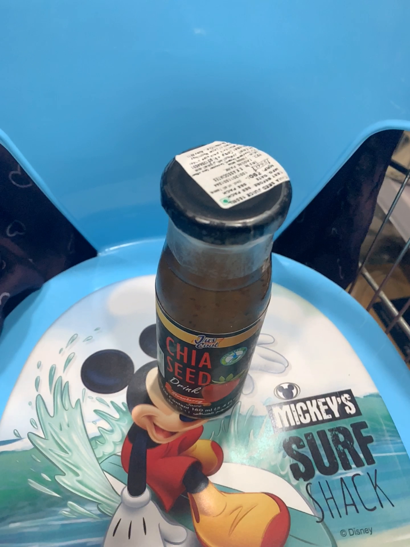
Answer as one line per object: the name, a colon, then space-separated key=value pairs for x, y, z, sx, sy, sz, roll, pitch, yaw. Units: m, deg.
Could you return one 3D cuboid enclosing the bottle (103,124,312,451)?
bottle: x=0.001 y=0.016 z=0.175 sx=0.050 sy=0.130 sz=0.050 roll=1 pitch=47 yaw=-2
